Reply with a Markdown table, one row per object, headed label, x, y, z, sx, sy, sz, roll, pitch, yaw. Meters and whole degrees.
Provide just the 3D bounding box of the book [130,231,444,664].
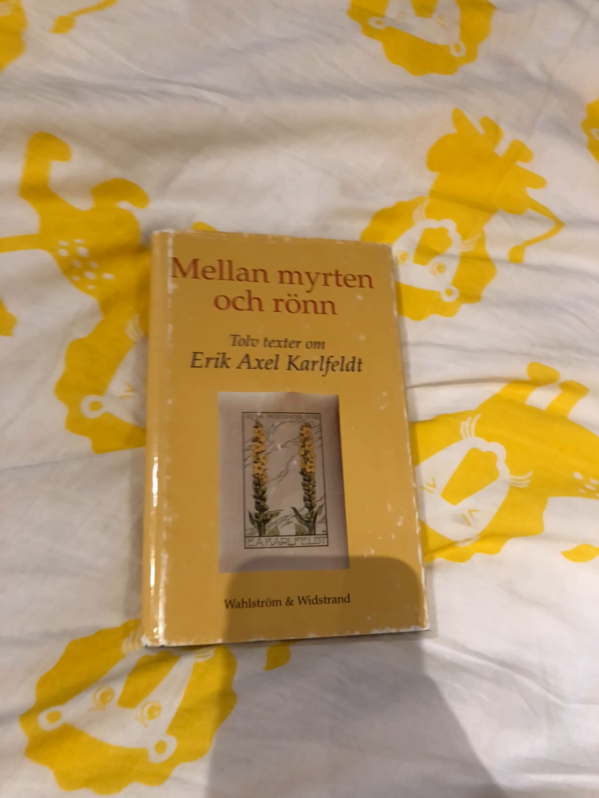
| label | x | y | z | sx | sy | sz | roll | pitch | yaw |
| --- | --- | --- | --- | --- | --- | --- | --- | --- | --- |
| book | -0.009 | 0.019 | 0.343 | 0.141 | 0.030 | 0.215 | 2 | 69 | -12 |
